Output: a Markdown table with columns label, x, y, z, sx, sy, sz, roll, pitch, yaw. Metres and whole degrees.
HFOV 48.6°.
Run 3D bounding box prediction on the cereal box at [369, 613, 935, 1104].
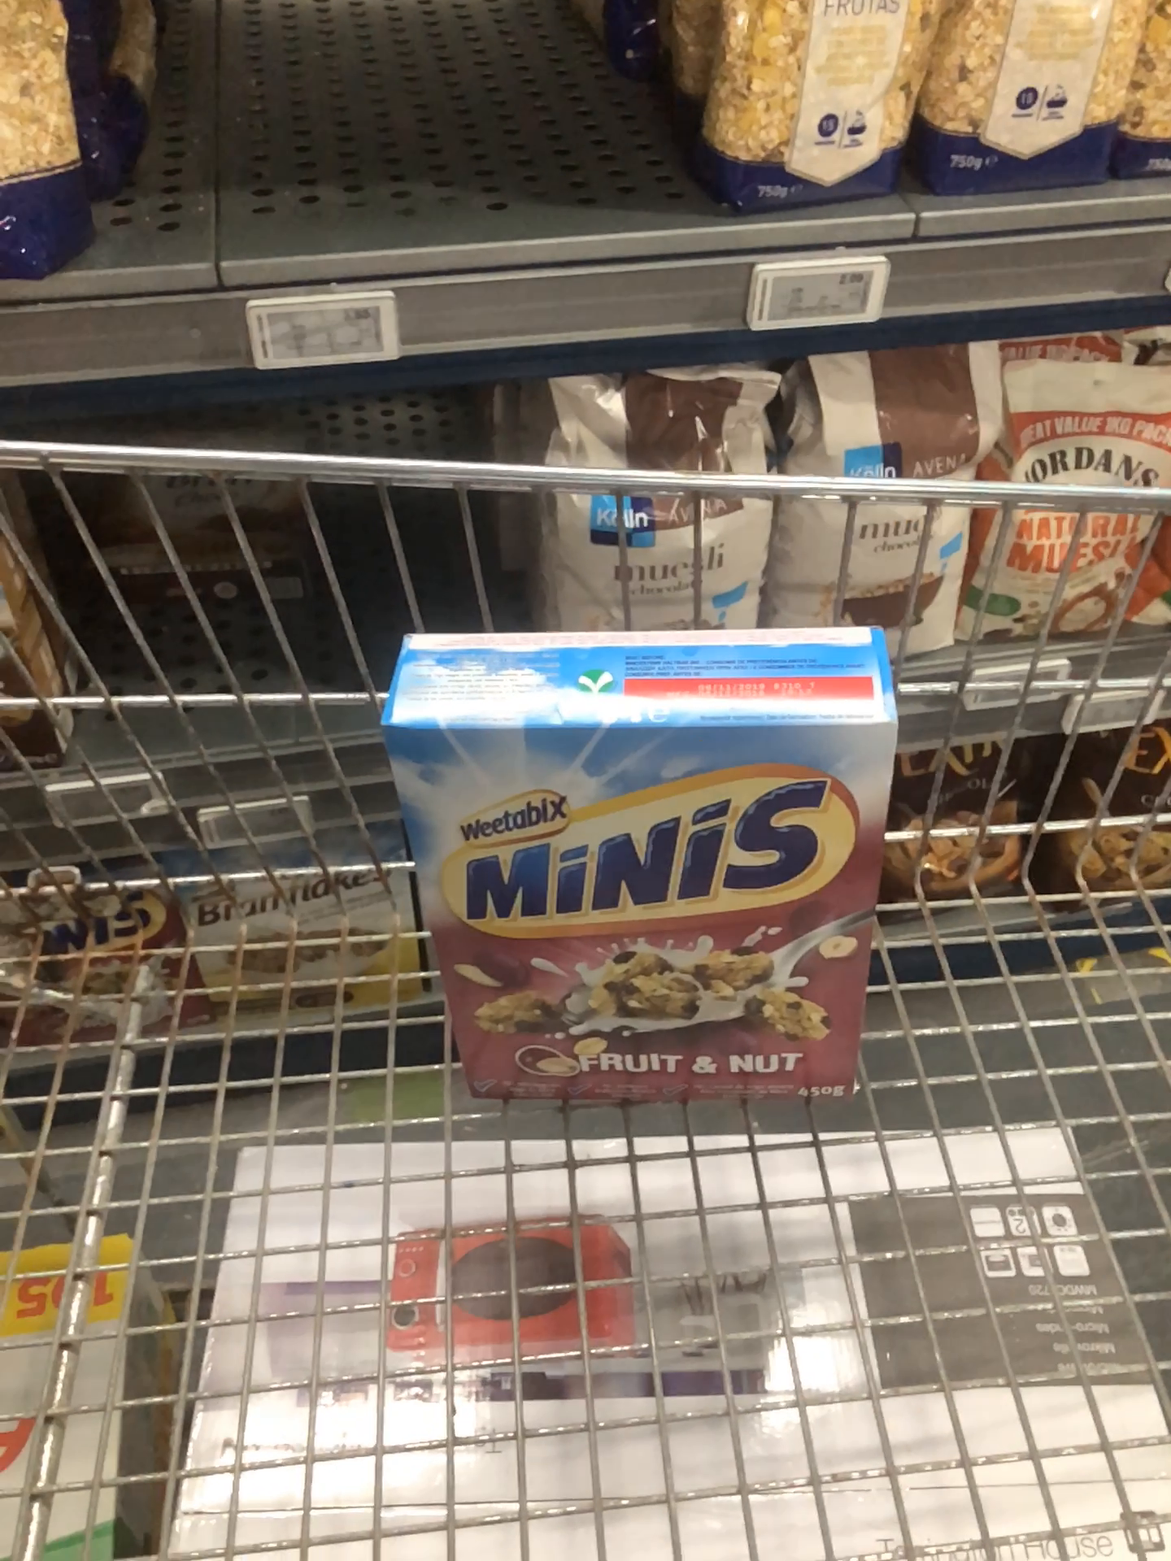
| label | x | y | z | sx | sy | sz | roll | pitch | yaw |
| --- | --- | --- | --- | --- | --- | --- | --- | --- | --- |
| cereal box | 0.033 | 0.051 | 0.624 | 0.220 | 0.259 | 0.080 | -1 | 45 | 4 |
